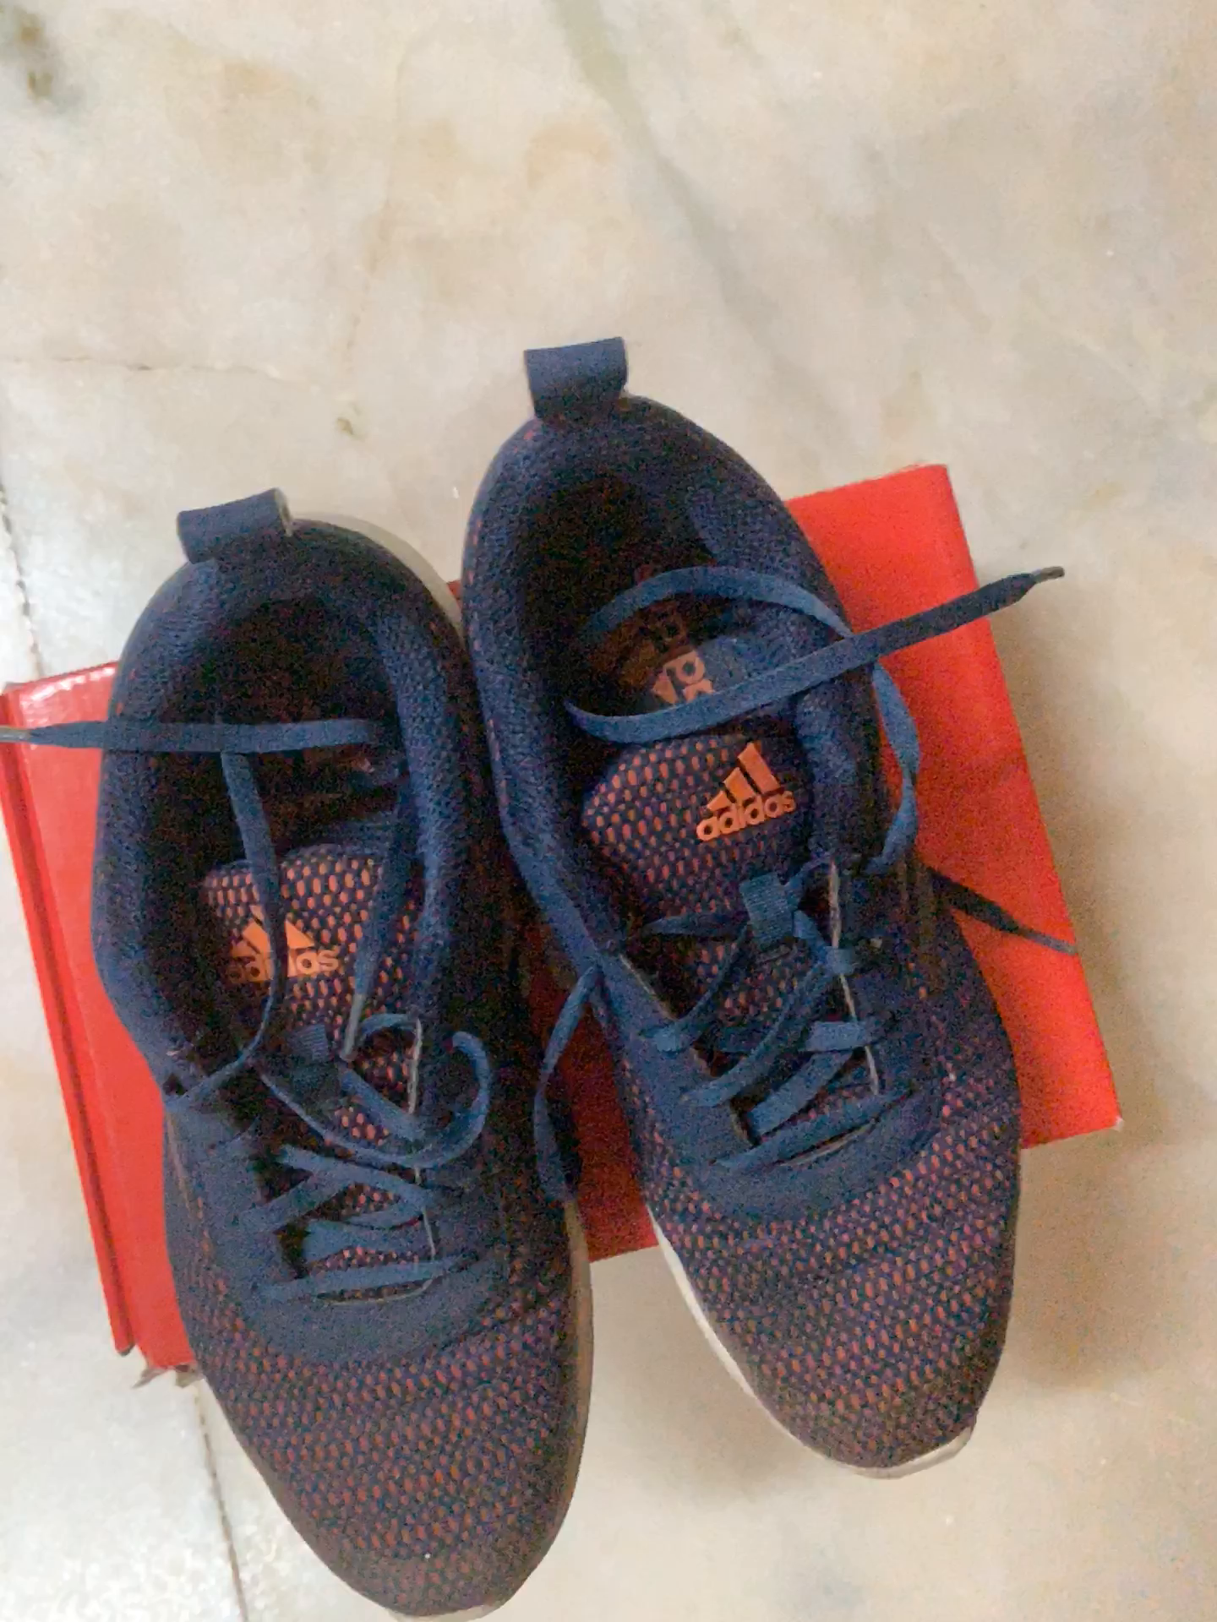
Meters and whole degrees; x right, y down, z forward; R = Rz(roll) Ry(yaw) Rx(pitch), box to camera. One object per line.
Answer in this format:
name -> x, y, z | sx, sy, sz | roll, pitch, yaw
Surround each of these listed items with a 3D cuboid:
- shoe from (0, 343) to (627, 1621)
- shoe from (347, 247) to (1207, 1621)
shoe -> -0.071, 0.051, 0.332 | 0.100, 0.100, 0.300 | -10, 88, -1
shoe -> 0.033, 0.029, 0.302 | 0.100, 0.080, 0.280 | -17, 88, -1
